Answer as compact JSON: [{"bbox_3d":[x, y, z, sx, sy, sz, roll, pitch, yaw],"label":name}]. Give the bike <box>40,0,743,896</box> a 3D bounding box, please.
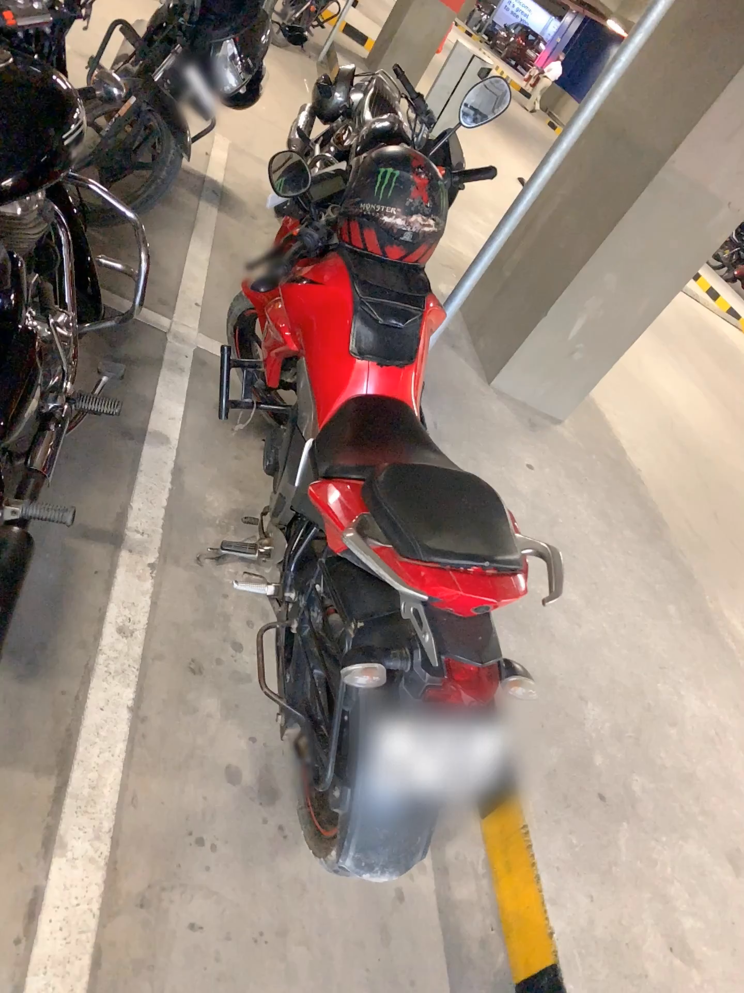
[{"bbox_3d":[-0.207,-0.252,1.671,0.678,1.121,1.687,13,40,-34],"label":"bike"}]
